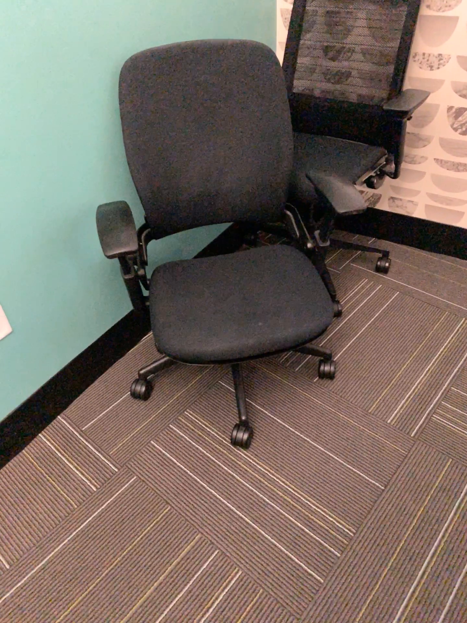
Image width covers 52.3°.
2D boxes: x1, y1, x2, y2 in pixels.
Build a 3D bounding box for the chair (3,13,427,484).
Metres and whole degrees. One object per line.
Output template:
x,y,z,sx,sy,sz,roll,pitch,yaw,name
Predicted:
-0.062,-0.188,1.325,0.660,0.944,0.775,-10,41,-7,chair
